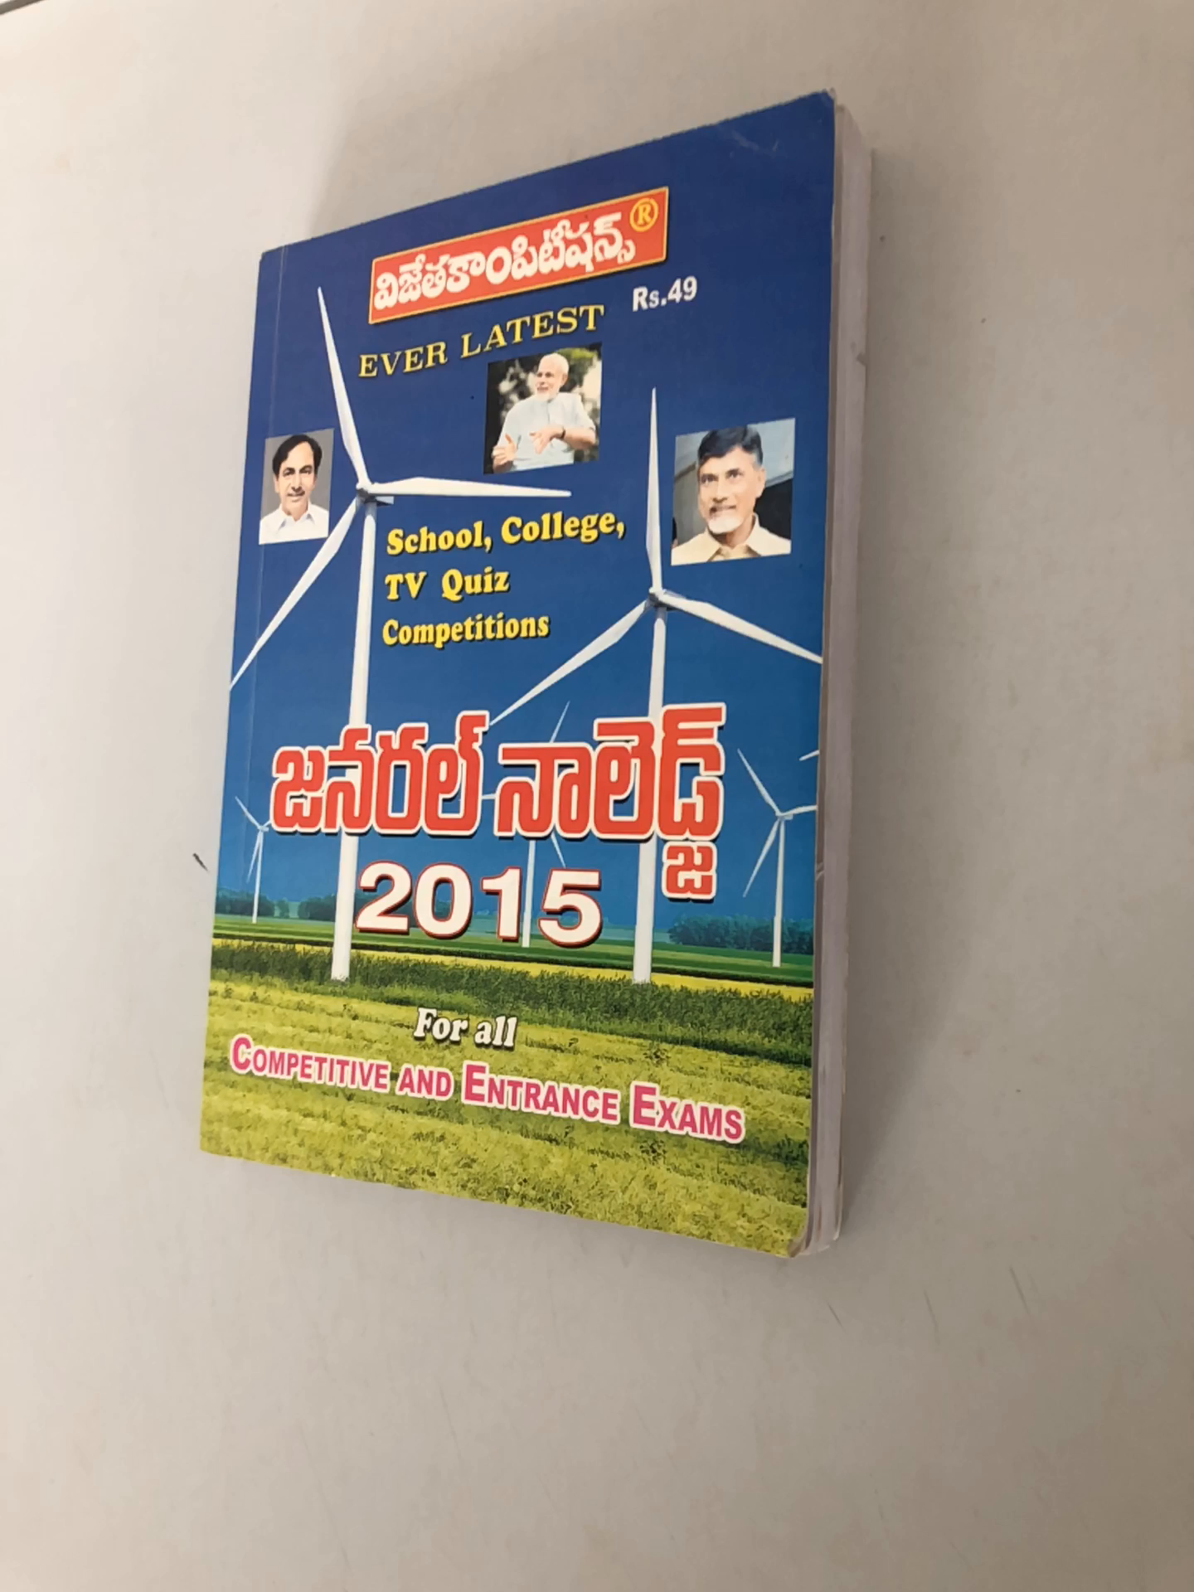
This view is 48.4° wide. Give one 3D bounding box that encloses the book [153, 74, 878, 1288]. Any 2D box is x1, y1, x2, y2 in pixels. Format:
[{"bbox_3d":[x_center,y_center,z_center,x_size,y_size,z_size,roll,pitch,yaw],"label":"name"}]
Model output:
[{"bbox_3d":[-0.018,-0.019,0.238,0.129,0.022,0.182,0,84,29],"label":"book"}]
